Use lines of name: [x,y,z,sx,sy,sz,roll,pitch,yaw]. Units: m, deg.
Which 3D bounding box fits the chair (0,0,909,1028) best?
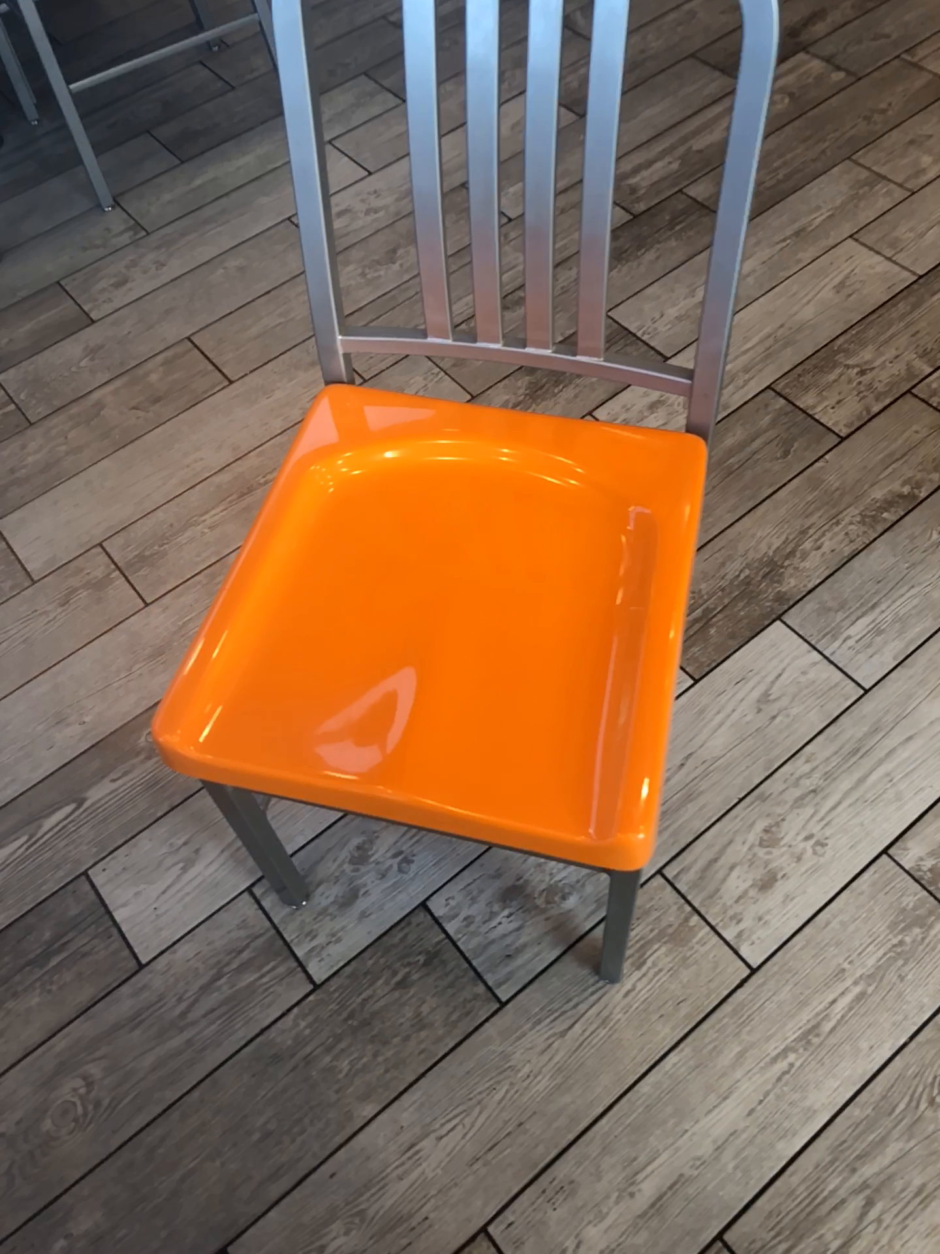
chair: [-0.007,-0.070,0.864,0.470,0.818,0.511,11,59,12]
